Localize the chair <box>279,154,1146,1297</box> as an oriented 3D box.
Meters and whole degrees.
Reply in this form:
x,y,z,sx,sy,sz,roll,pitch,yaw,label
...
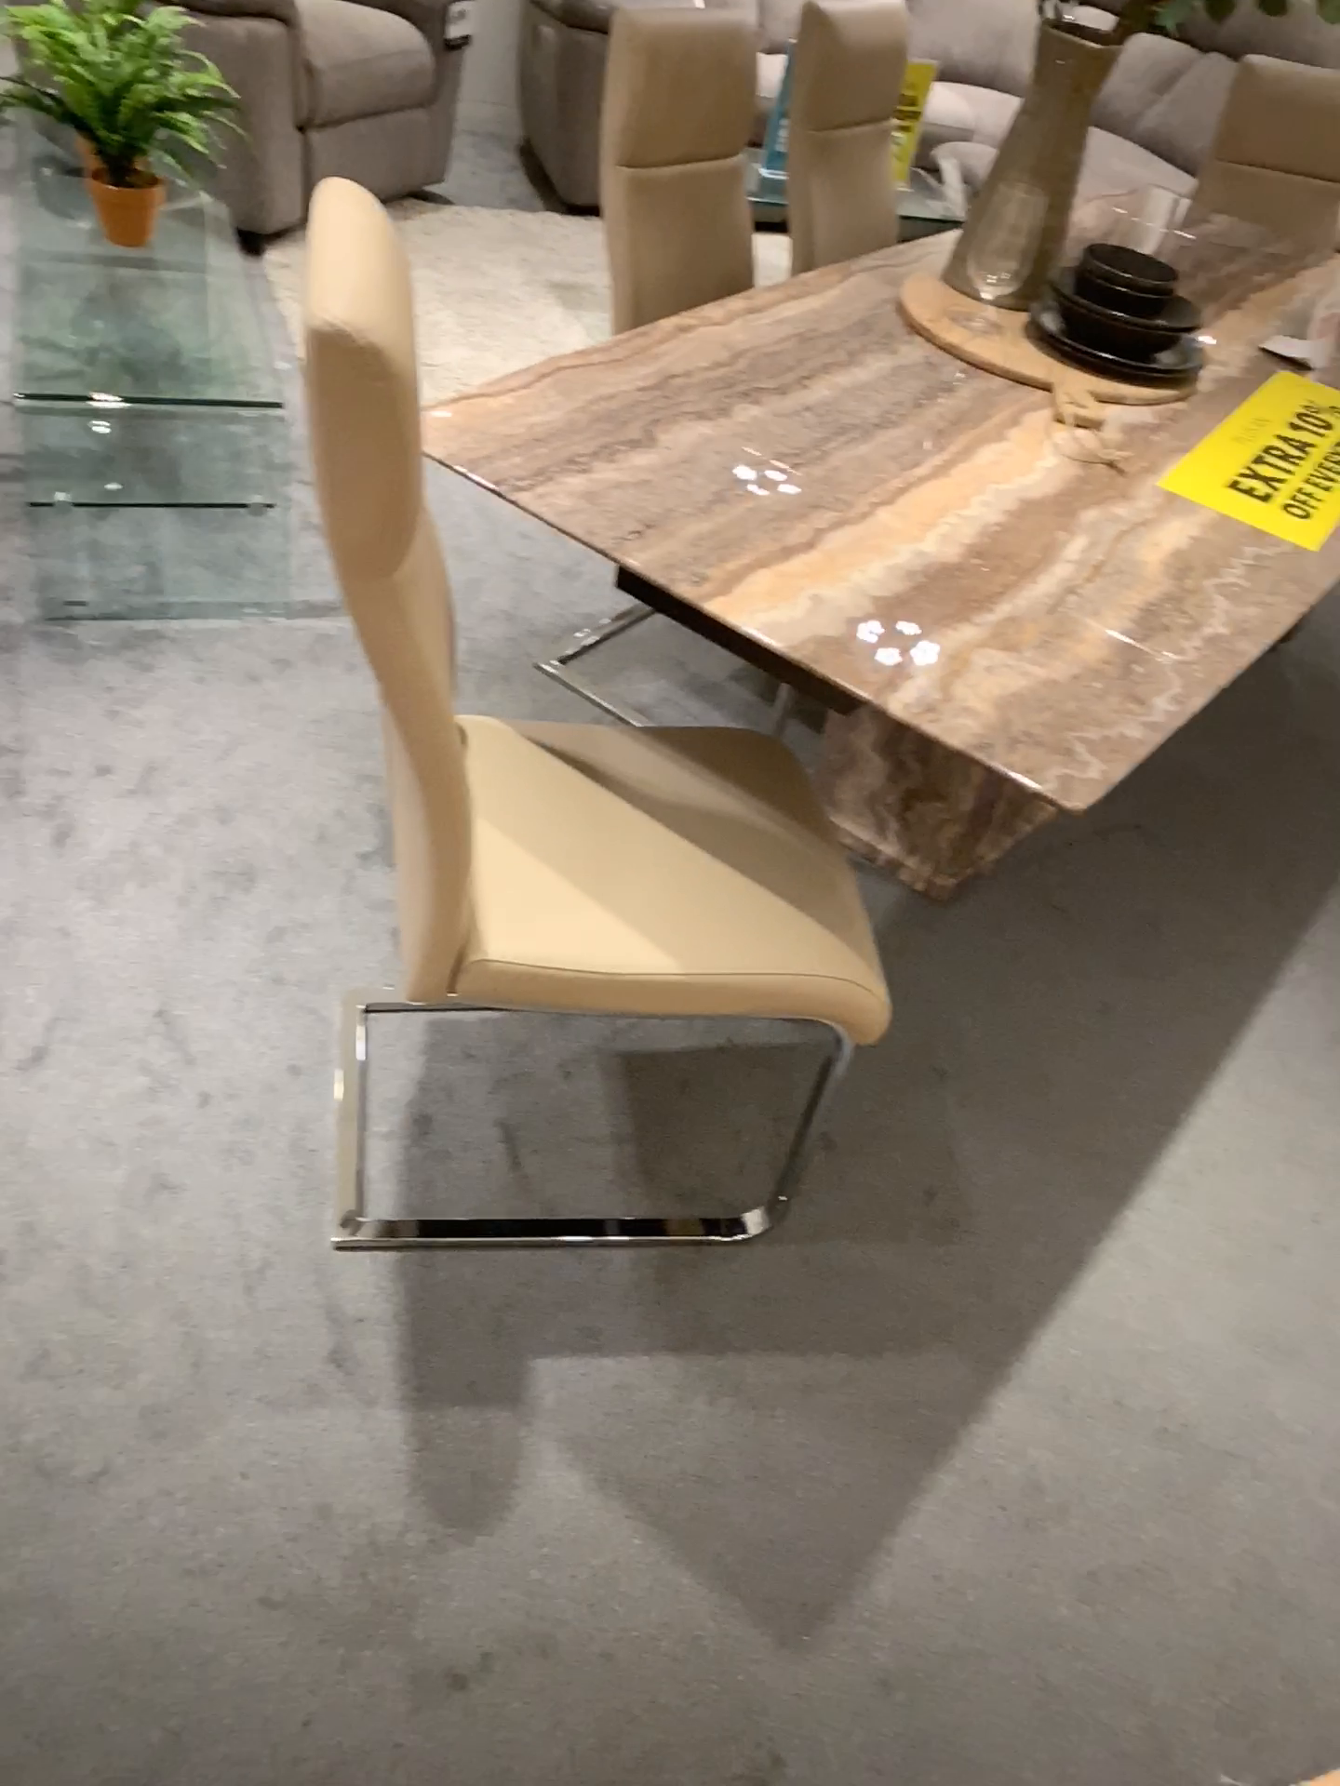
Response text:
x,y,z,sx,sy,sz,roll,pitch,yaw,label
-0.078,-0.090,1.352,0.569,0.973,0.478,2,42,-14,chair
